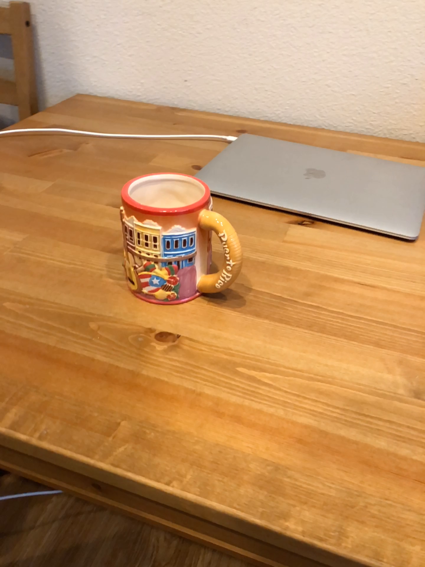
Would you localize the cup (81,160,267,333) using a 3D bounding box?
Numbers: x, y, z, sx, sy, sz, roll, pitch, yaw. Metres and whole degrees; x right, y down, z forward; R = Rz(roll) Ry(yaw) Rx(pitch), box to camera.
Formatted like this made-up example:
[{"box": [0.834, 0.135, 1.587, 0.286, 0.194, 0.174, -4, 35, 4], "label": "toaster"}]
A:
[{"box": [-0.034, -0.040, 0.427, 0.130, 0.090, 0.090, 24, 41, 27], "label": "cup"}]
